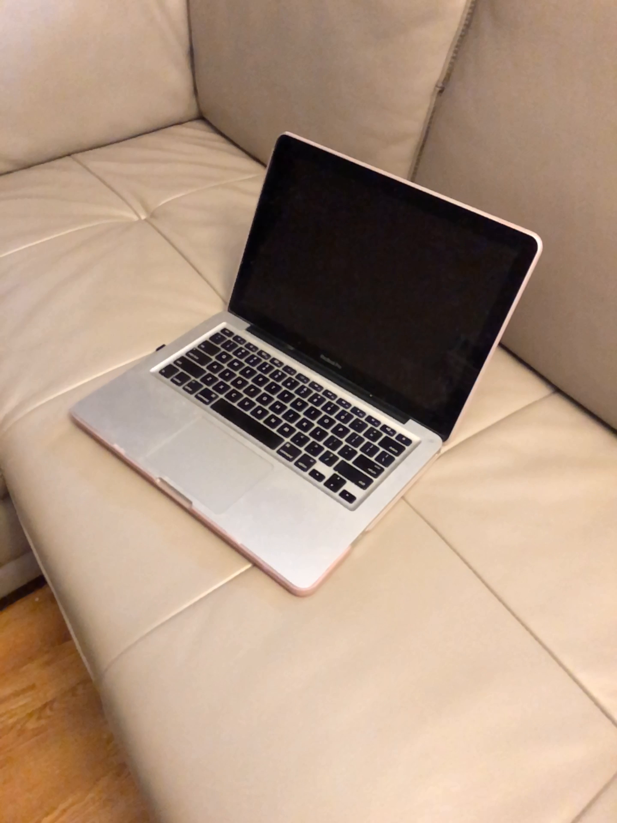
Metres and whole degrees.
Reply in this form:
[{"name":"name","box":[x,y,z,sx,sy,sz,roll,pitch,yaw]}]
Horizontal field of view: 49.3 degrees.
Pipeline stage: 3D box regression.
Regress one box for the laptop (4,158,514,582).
[{"name":"laptop","box":[-0.030,-0.068,0.638,0.306,0.177,0.306,33,51,26]}]
